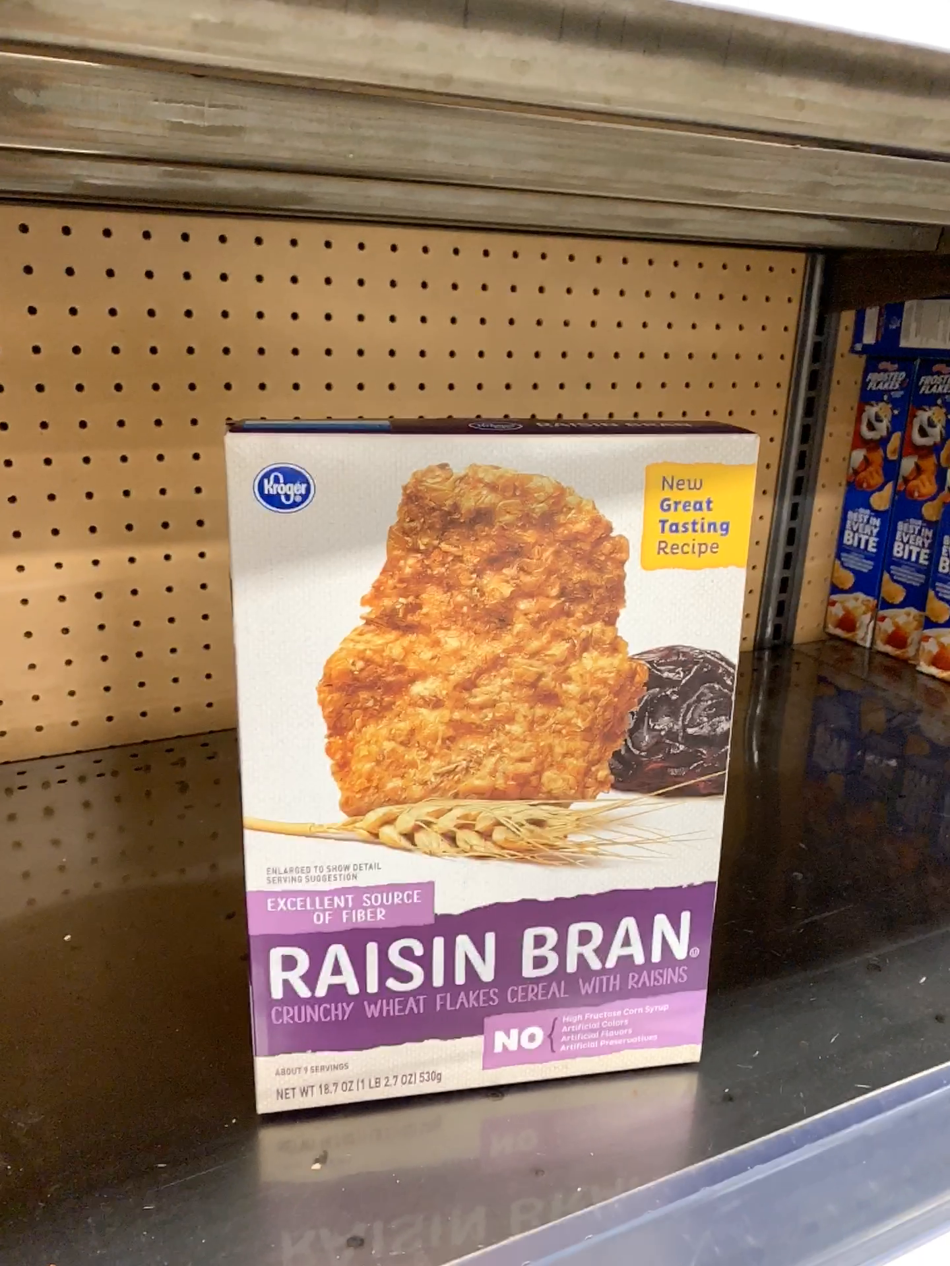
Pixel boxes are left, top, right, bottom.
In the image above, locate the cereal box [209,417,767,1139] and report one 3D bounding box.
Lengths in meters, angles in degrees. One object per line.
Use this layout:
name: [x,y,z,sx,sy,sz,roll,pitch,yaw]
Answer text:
cereal box: [0.002,0.055,0.386,0.190,0.269,0.050,-2,16,-12]
